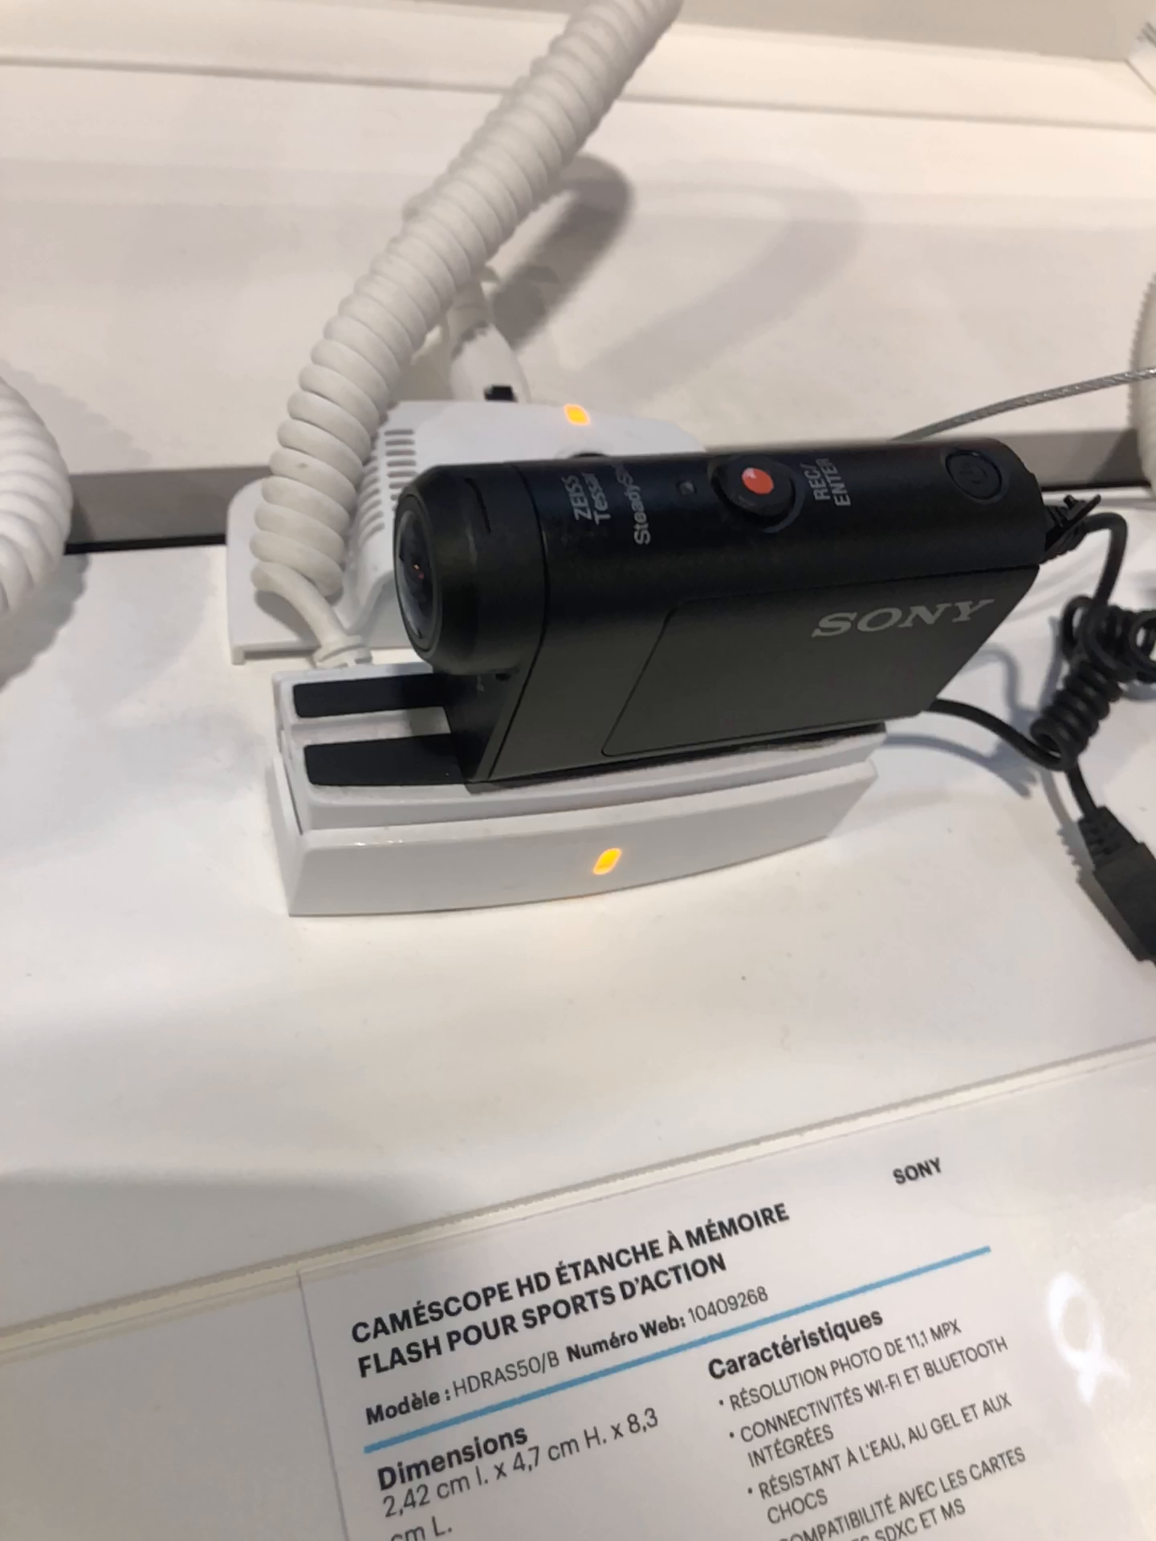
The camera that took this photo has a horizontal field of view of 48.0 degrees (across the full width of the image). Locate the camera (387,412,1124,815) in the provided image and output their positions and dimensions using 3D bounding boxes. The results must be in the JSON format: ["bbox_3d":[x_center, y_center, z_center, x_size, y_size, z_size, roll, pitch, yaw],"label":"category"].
[{"bbox_3d":[0.020,-0.020,0.163,0.080,0.045,0.020,-7,58,-20],"label":"camera"}]
